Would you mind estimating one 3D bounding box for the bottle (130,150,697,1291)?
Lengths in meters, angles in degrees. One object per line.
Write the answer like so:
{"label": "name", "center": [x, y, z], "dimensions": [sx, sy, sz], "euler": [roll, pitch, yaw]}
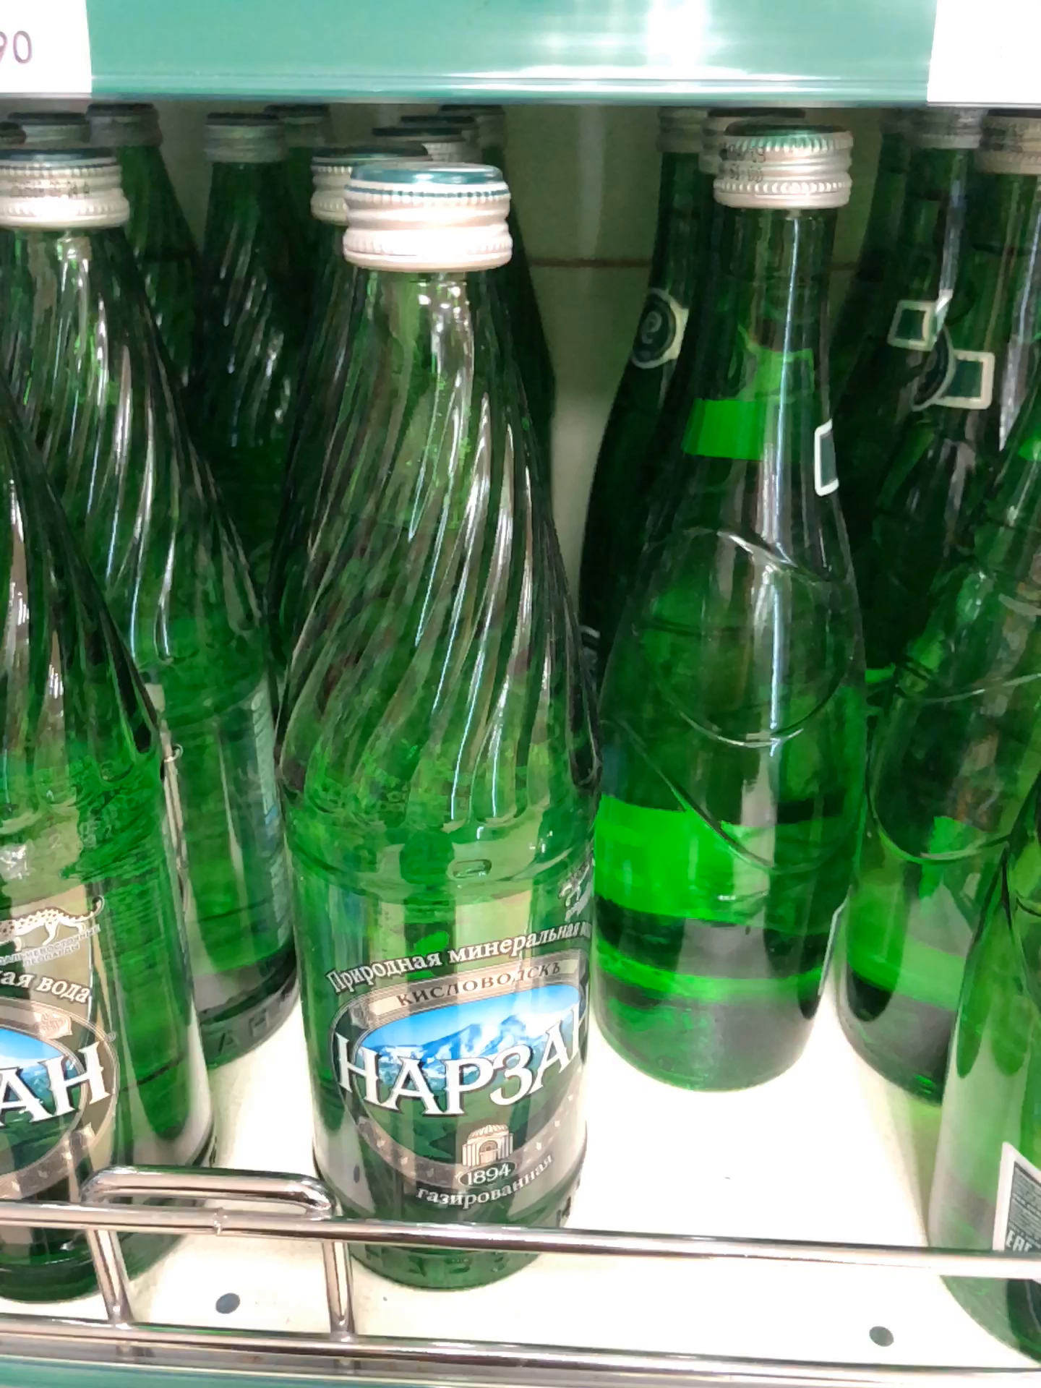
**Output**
{"label": "bottle", "center": [-0.015, 0.019, 0.244], "dimensions": [0.080, 0.240, 0.060], "euler": [0, 27, 0]}
